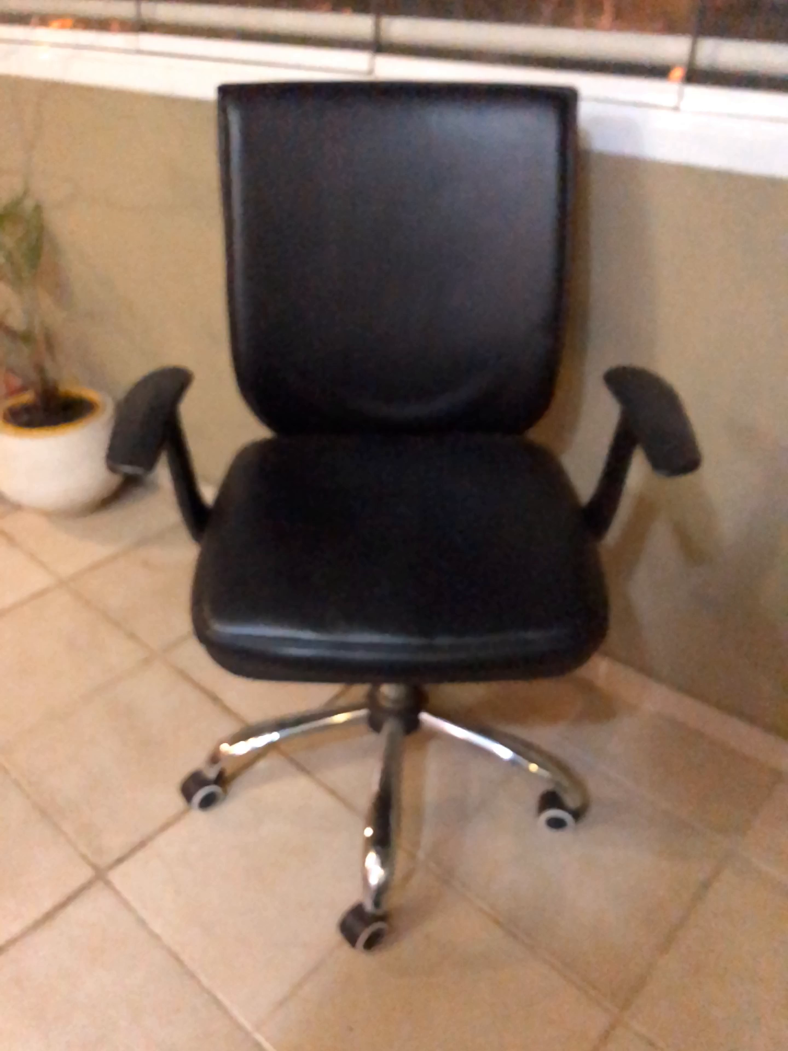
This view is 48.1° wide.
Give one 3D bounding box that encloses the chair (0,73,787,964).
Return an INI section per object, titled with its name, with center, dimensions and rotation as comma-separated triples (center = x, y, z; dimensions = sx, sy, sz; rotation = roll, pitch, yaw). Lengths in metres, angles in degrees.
[chair]
center = 0.000, -0.022, 1.143
dimensions = 0.660, 0.933, 0.665
rotation = 0, 33, 1
